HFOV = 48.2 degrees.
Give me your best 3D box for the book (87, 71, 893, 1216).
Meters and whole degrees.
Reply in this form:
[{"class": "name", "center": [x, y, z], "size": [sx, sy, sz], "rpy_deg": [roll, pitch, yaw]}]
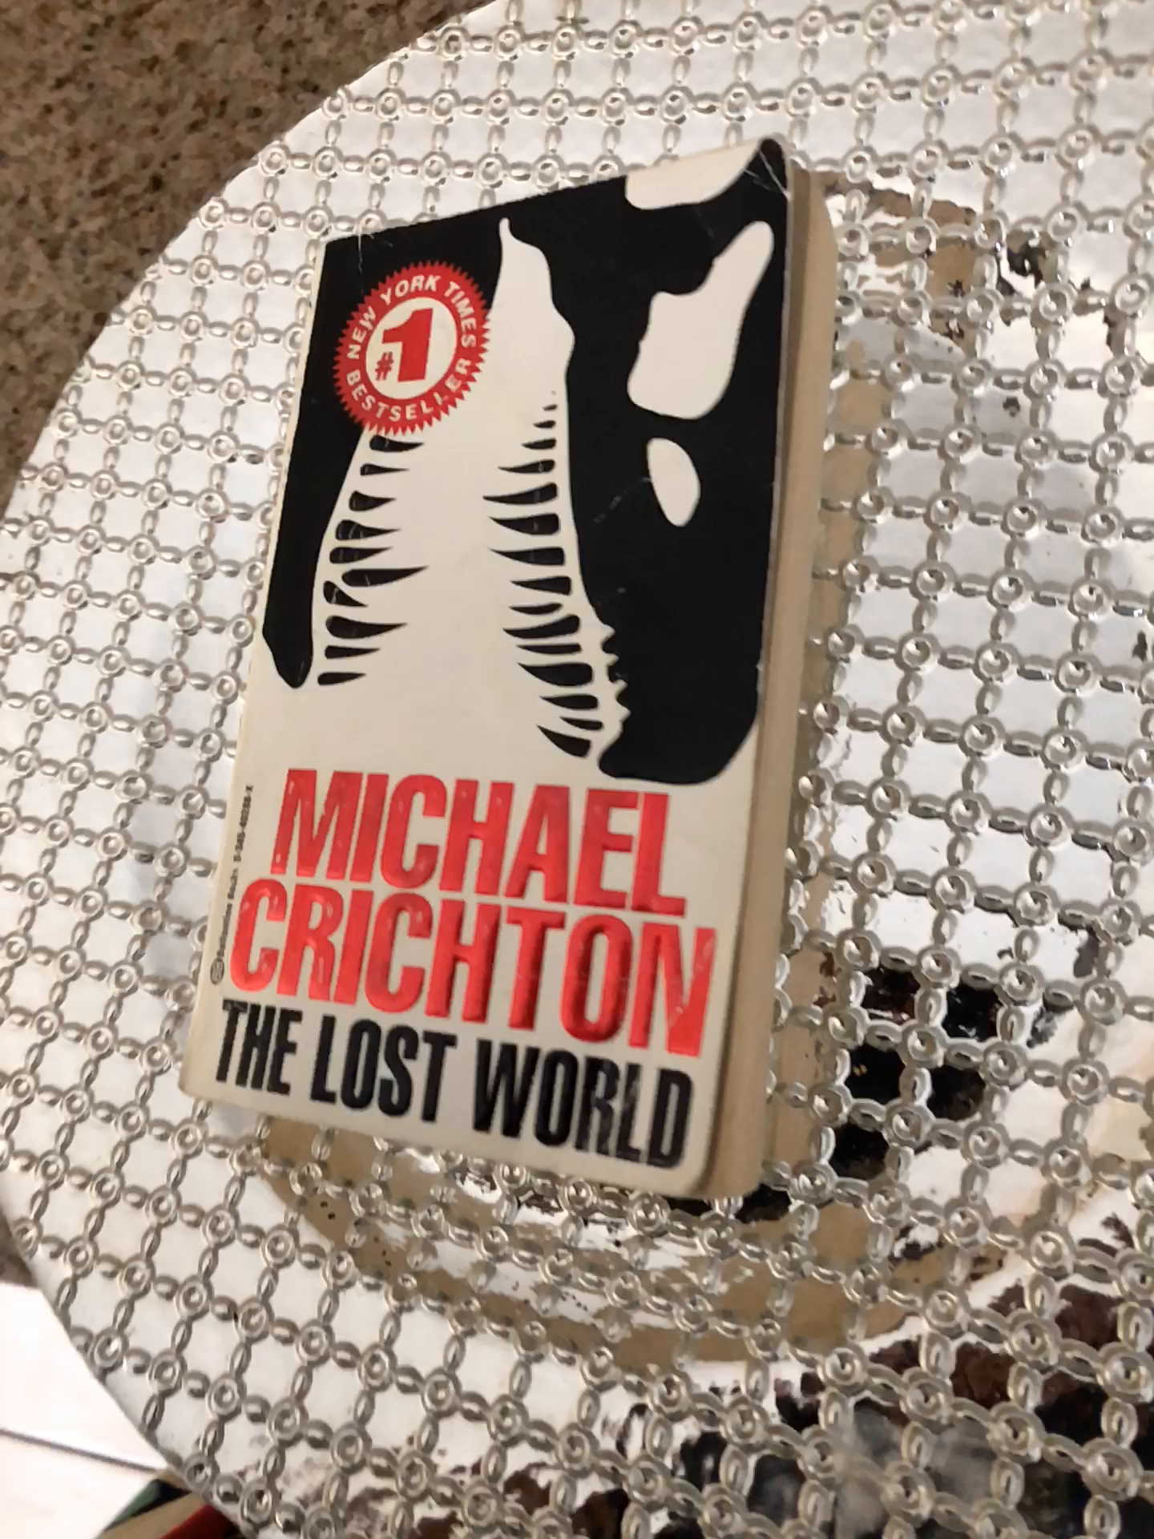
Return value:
[{"class": "book", "center": [-0.013, -0.026, 0.239], "size": [0.119, 0.040, 0.182], "rpy_deg": [4, 80, 23]}]
